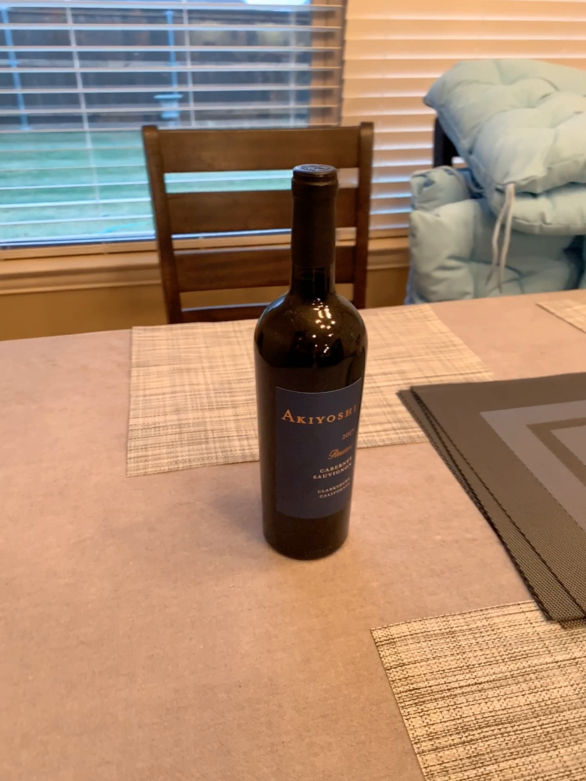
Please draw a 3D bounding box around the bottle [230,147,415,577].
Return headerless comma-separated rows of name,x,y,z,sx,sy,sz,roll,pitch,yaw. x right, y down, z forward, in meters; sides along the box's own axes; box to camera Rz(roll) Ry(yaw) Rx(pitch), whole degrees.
bottle,0.013,-0.011,0.445,0.090,0.298,0.090,0,30,0
